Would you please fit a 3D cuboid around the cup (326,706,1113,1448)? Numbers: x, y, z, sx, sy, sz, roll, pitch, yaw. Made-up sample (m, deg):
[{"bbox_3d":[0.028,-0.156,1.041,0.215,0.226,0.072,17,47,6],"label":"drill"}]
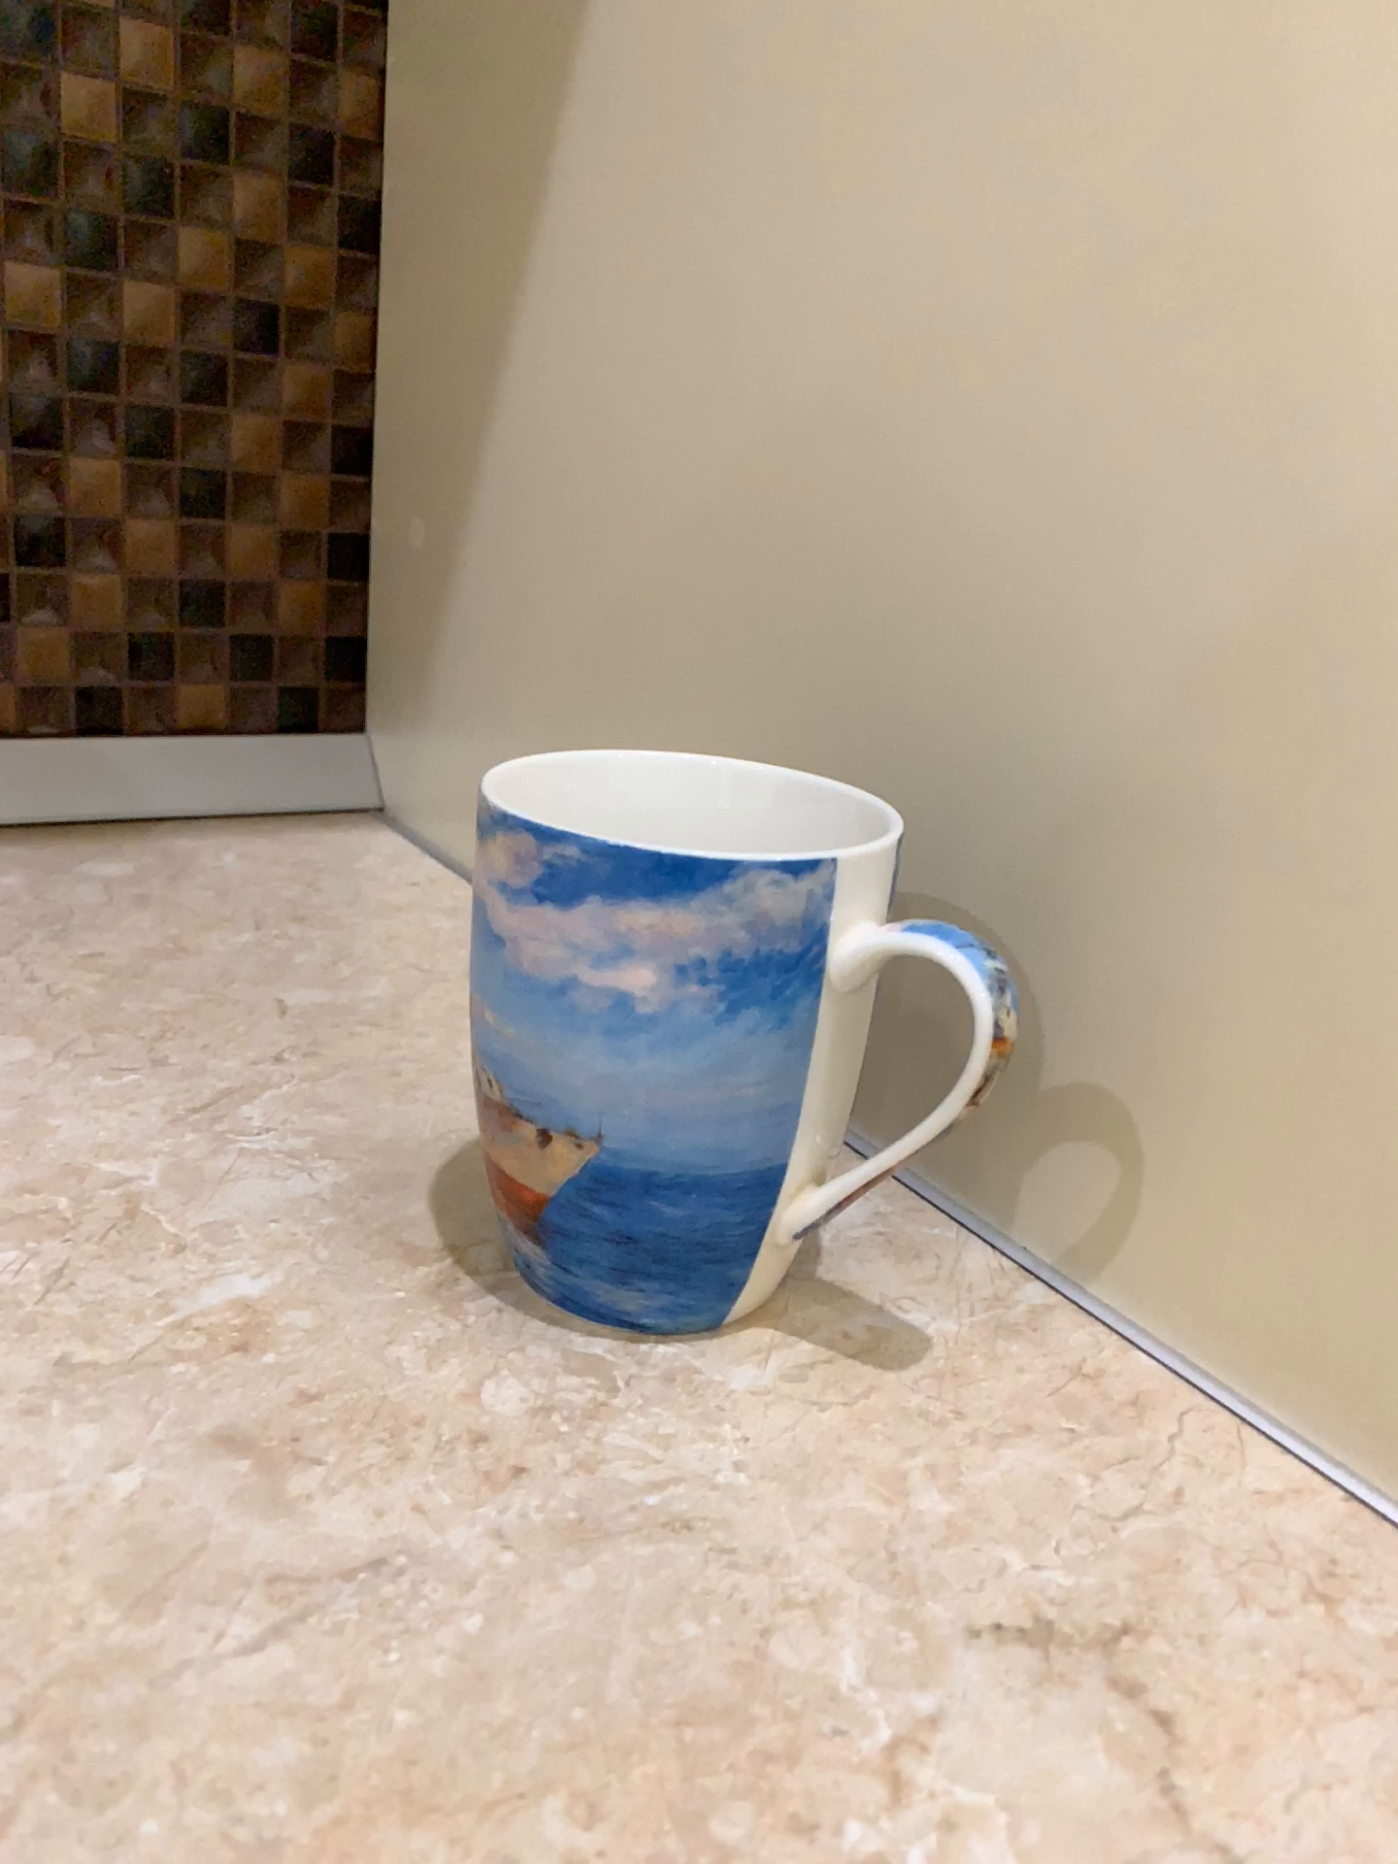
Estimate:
[{"bbox_3d":[0.005,0.016,0.267,0.114,0.087,0.083,13,19,18],"label":"cup"}]
